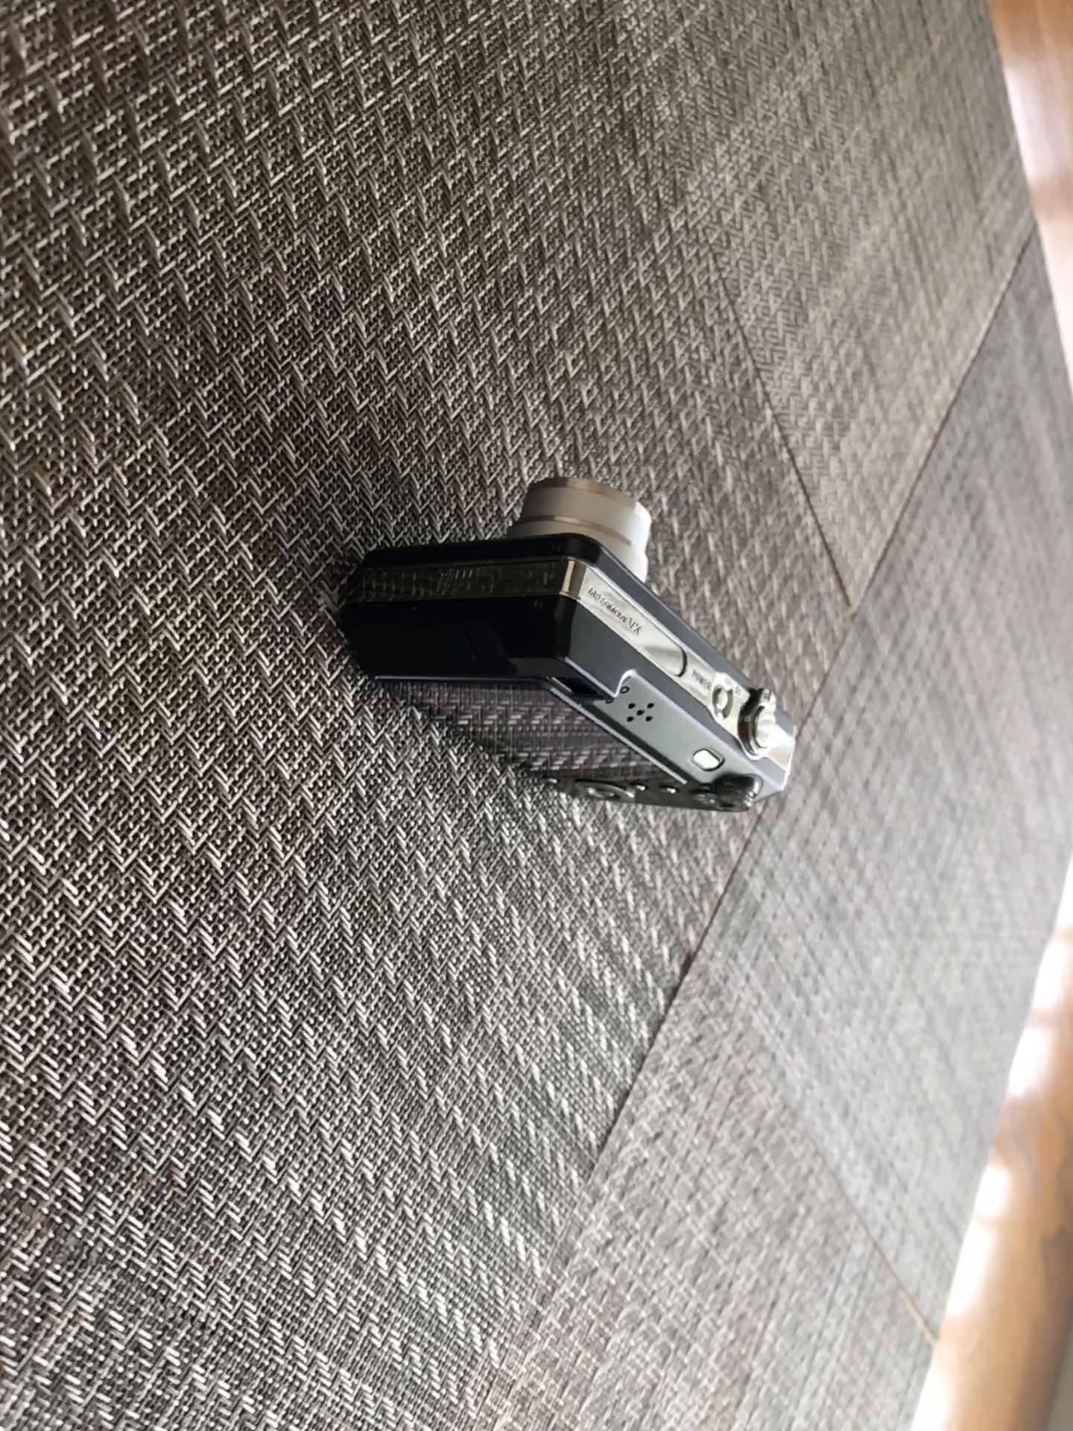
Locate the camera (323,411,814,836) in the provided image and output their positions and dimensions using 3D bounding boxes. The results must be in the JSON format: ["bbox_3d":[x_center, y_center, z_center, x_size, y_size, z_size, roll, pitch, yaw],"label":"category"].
[{"bbox_3d":[0.012,-0.015,0.259,0.095,0.052,0.049,35,65,-47],"label":"camera"}]
